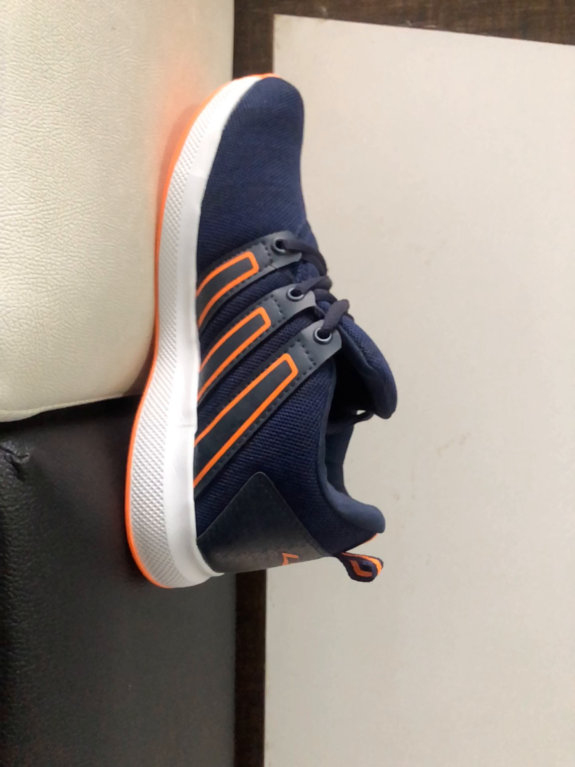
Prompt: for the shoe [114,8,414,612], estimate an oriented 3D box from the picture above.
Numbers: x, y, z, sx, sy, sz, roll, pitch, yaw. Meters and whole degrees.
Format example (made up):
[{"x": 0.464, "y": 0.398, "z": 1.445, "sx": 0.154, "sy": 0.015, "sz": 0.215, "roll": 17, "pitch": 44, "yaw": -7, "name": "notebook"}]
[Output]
[{"x": 0.000, "y": -0.038, "z": 0.360, "sx": 0.120, "sy": 0.110, "sz": 0.280, "roll": 31, "pitch": 65, "yaw": -79, "name": "shoe"}]
